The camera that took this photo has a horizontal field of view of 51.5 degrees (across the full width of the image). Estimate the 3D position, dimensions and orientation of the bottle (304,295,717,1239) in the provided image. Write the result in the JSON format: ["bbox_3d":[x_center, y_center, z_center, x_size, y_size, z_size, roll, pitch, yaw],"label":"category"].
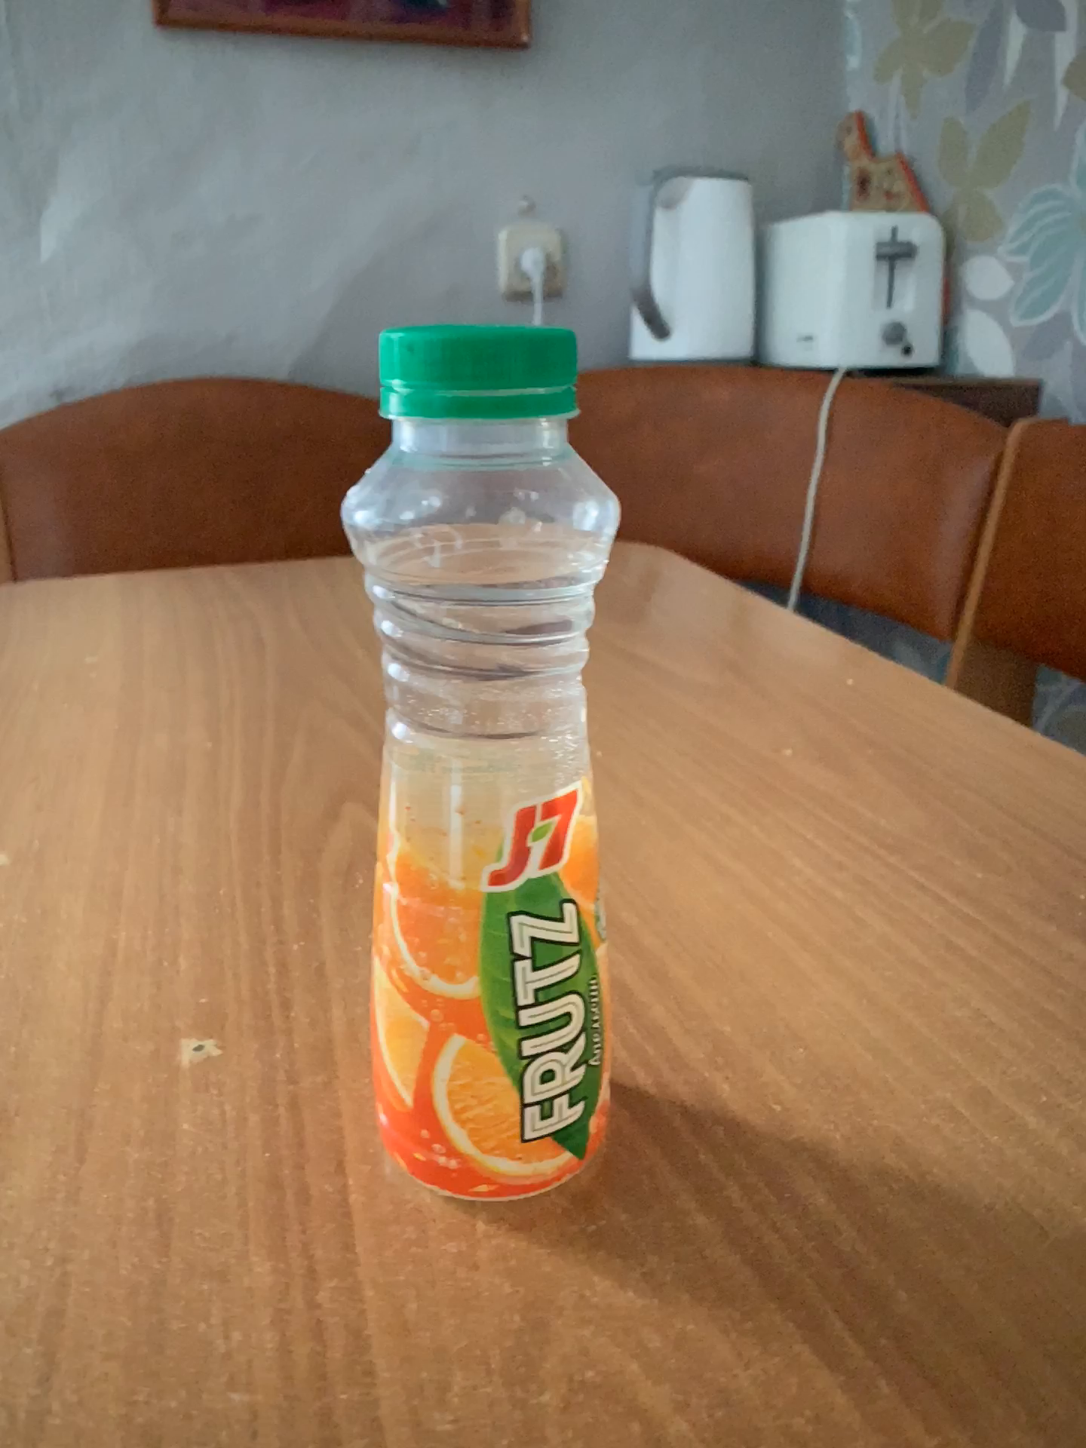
[{"bbox_3d":[-0.010,0.008,0.263,0.070,0.201,0.070,-1,21,0],"label":"bottle"}]
